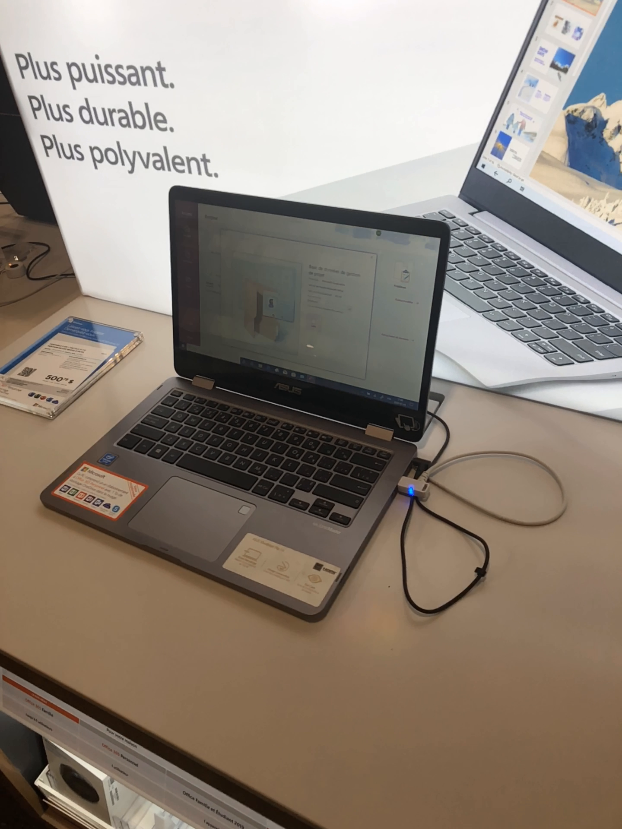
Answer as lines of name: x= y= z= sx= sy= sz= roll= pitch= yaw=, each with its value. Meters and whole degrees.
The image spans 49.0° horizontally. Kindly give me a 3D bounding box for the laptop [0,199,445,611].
laptop: x=-0.076 y=-0.036 z=0.646 sx=0.312 sy=0.214 sz=0.273 roll=16 pitch=43 yaw=25
